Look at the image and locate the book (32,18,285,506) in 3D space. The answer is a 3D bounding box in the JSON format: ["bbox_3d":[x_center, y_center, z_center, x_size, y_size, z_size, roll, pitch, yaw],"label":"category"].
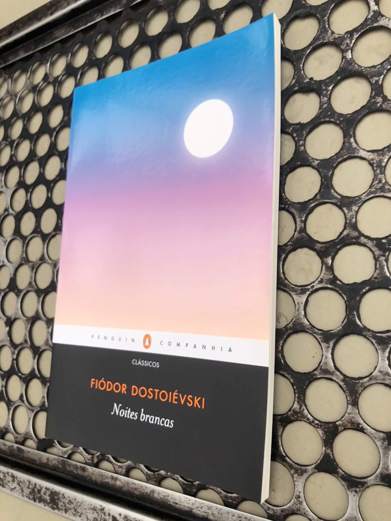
[{"bbox_3d":[-0.024,-0.003,0.212,0.133,0.010,0.191,-2,82,34],"label":"book"}]
